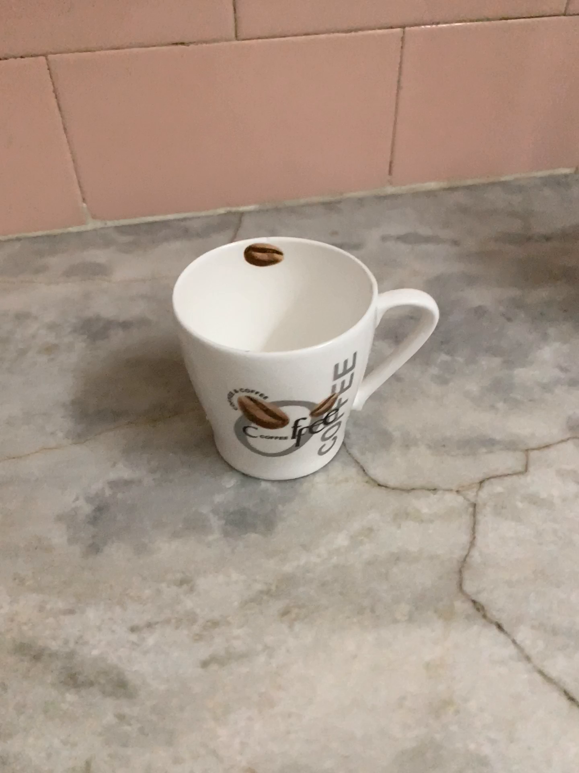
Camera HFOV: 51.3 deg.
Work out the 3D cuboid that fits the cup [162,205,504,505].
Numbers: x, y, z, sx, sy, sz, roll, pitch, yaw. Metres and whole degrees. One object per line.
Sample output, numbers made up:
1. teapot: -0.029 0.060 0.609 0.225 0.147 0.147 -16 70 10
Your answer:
1. cup: 0.011 -0.014 0.229 0.100 0.070 0.070 -10 44 -9
